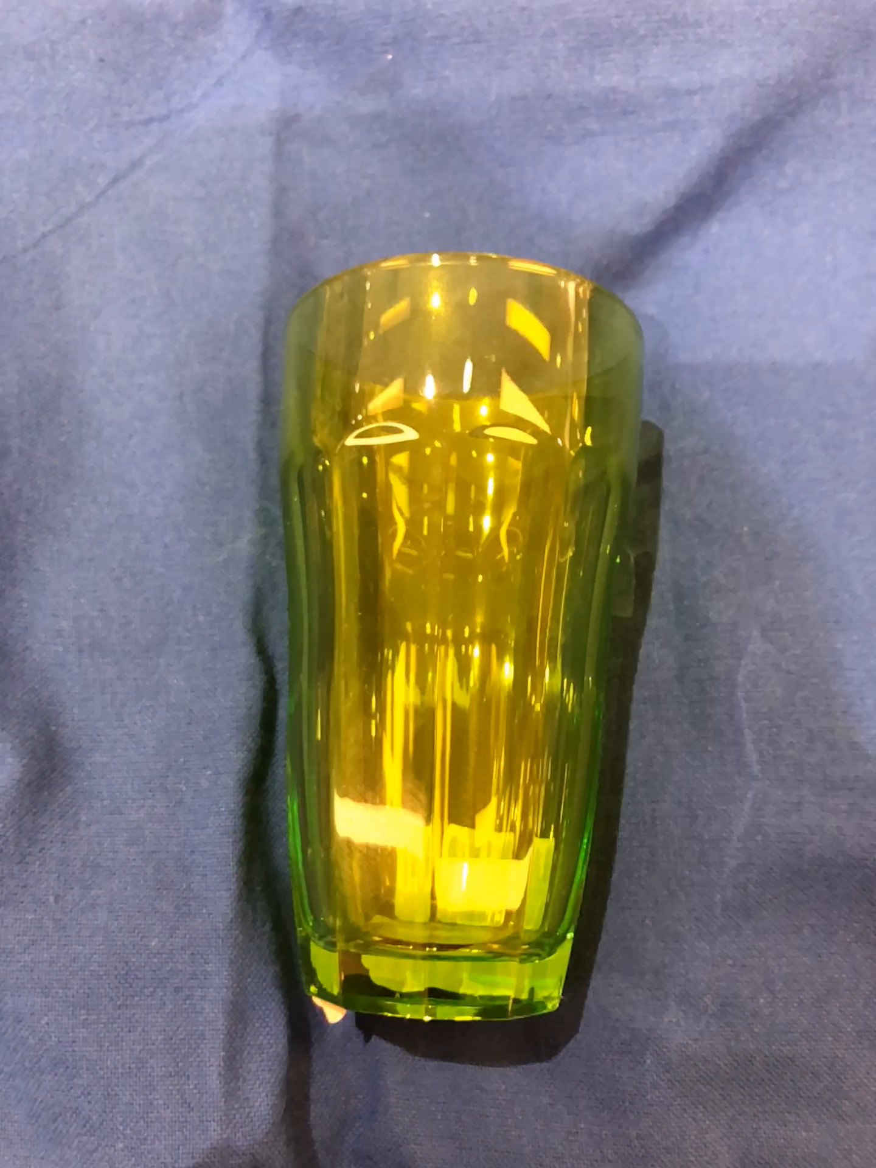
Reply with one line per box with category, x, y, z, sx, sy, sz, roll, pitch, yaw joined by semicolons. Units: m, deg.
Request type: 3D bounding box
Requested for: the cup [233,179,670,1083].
cup;0.003;0.008;0.209;0.070;0.070;0.160;2;78;-2
